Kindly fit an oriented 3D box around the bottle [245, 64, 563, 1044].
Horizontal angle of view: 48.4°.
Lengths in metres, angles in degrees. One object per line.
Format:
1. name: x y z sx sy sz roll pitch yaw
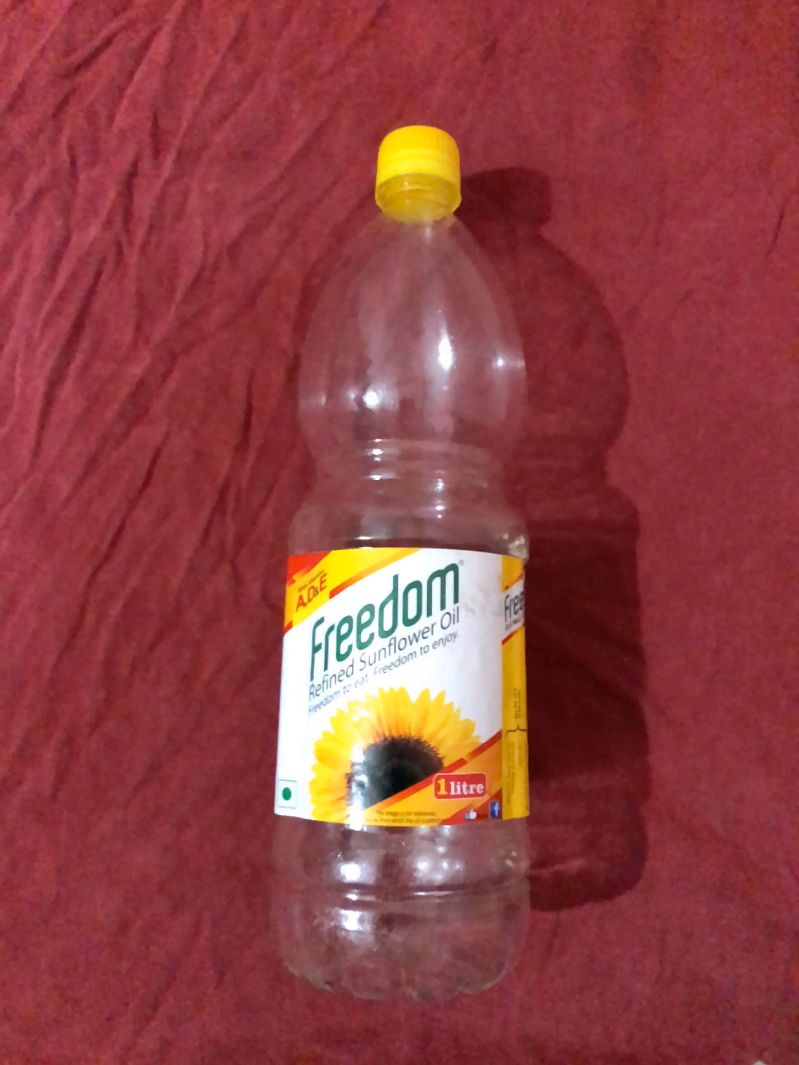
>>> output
1. bottle: 0.002 0.001 0.277 0.080 0.060 0.270 3 82 -5
